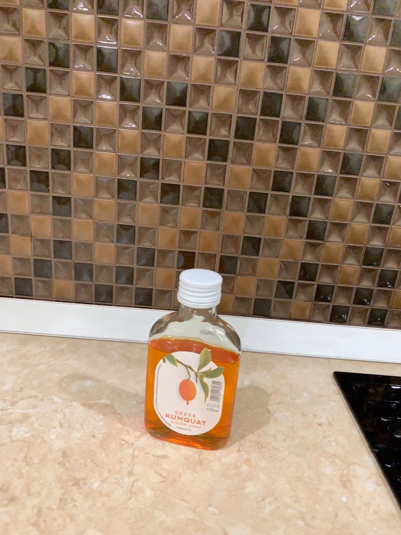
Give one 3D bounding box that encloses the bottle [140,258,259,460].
[{"bbox_3d":[-0.002,0.067,0.308,0.070,0.133,0.040,9,20,10],"label":"bottle"}]
